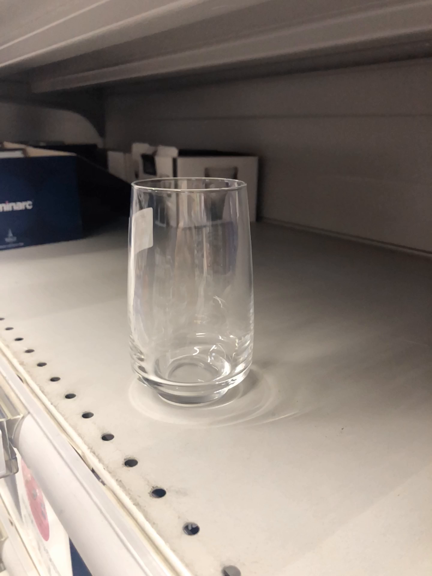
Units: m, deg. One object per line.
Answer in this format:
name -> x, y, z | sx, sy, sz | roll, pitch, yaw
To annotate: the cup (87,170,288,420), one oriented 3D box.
cup -> -0.013, -0.005, 0.269 | 0.076, 0.112, 0.076 | 0, 17, 0
